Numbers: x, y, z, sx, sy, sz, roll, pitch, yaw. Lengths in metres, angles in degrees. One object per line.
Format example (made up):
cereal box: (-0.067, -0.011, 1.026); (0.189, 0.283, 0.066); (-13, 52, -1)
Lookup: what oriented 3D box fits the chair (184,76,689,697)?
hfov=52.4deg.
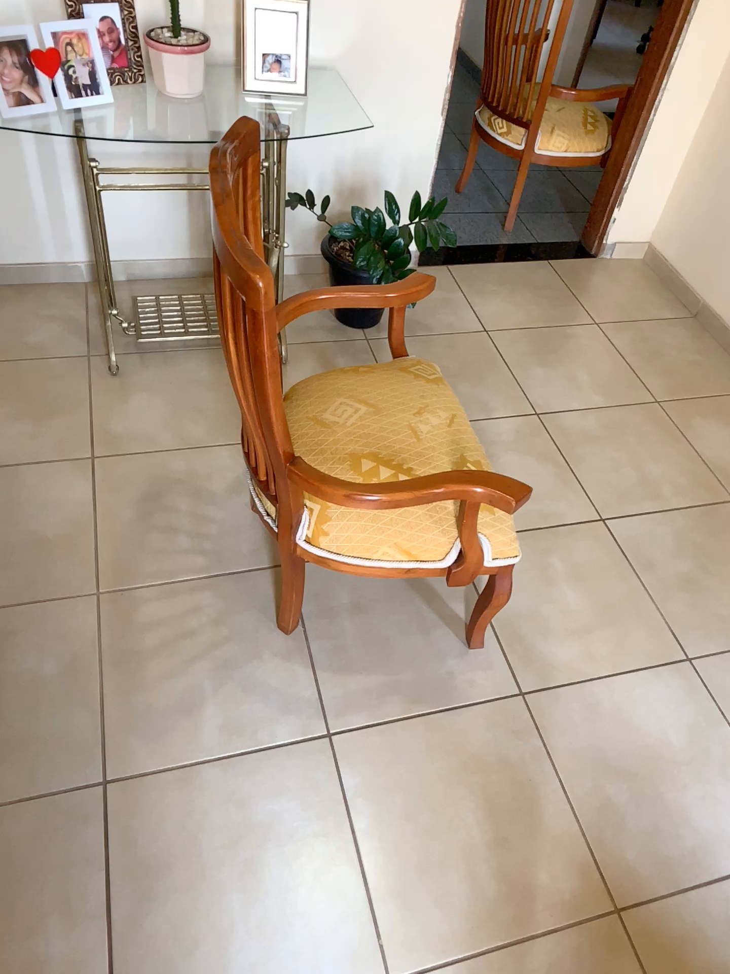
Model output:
chair: (0.006, -0.153, 1.501); (0.631, 1.015, 0.623); (-5, 47, -14)
